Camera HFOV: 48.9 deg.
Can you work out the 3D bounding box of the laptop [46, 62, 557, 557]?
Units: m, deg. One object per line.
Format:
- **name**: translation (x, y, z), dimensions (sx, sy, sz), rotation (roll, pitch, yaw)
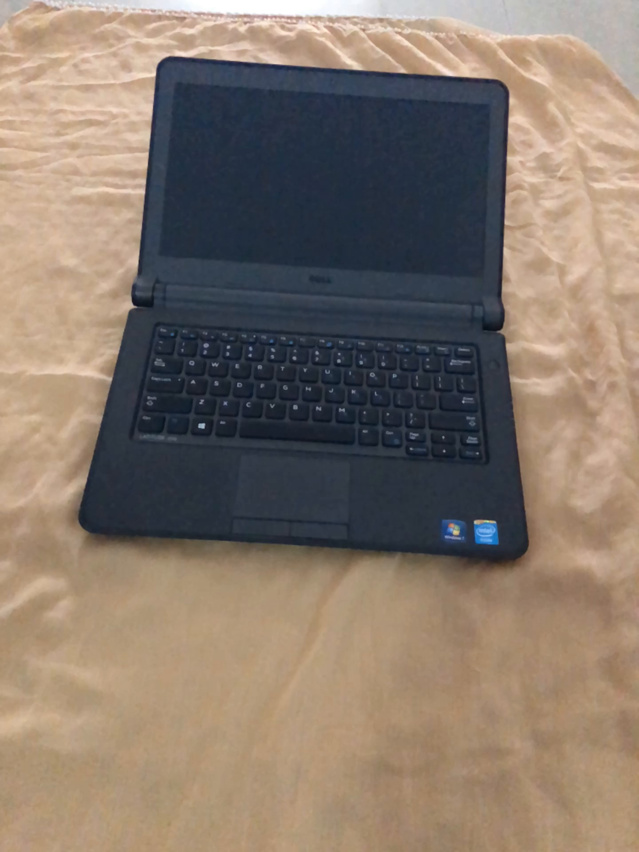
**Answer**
- **laptop**: translation (-0.003, -0.117, 0.567), dimensions (0.308, 0.092, 0.411), rotation (4, 59, -1)
